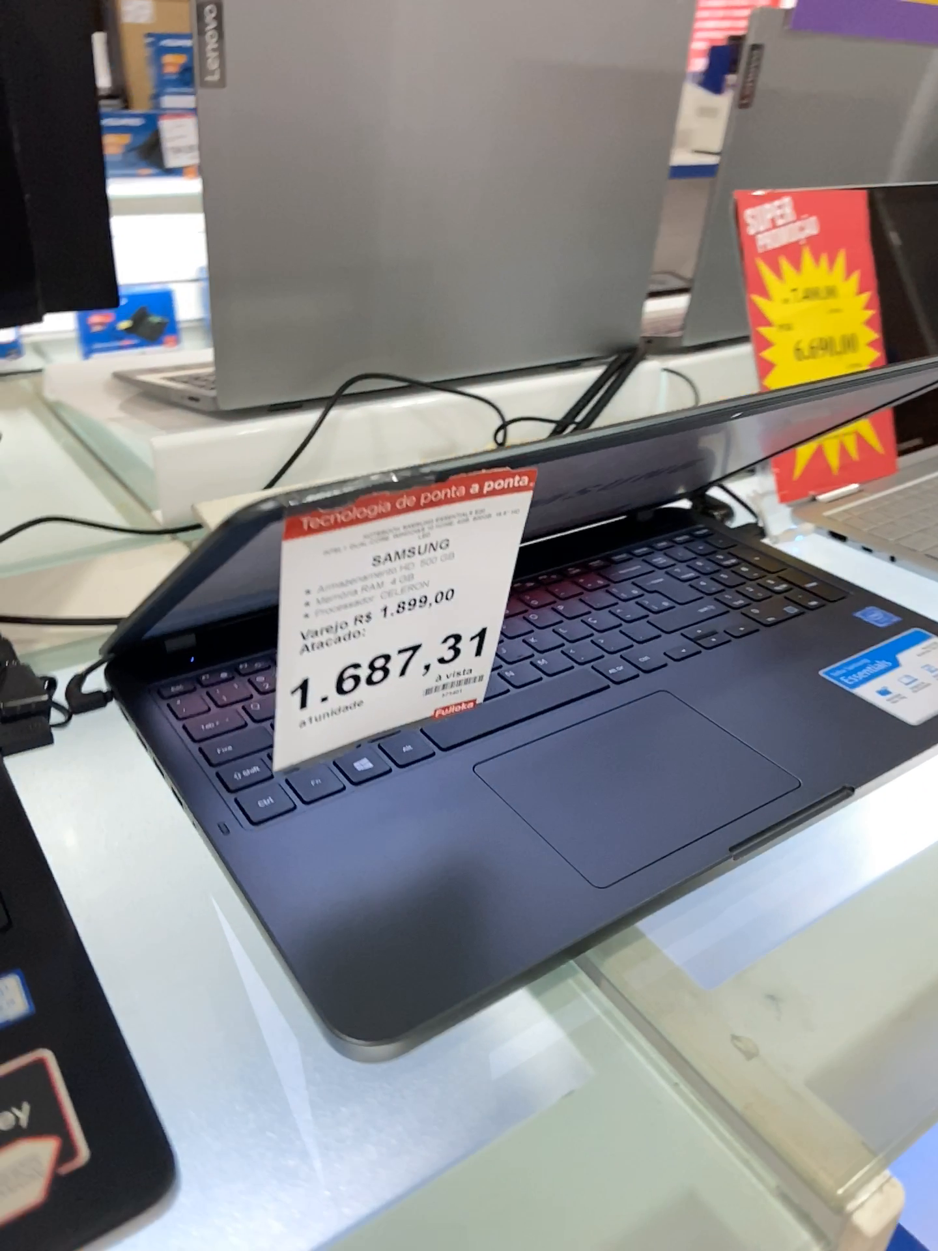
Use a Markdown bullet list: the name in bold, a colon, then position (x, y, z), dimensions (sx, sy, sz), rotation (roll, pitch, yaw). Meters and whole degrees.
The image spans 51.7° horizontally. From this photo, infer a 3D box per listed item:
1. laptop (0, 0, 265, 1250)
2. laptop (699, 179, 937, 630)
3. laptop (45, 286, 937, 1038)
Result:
- **laptop**: position (-0.342, 0.001, 0.206), dimensions (0.395, 0.223, 0.372), rotation (-17, 34, -34)
- **laptop**: position (0.375, -0.183, 0.645), dimensions (0.316, 0.177, 0.297), rotation (-18, 35, -31)
- **laptop**: position (0.053, -0.042, 0.415), dimensions (0.368, 0.139, 0.236), rotation (-17, 34, -32)
